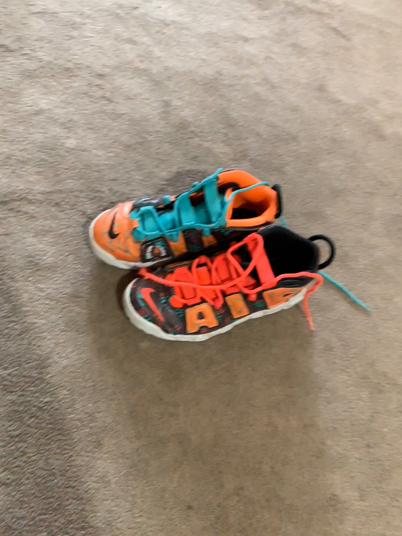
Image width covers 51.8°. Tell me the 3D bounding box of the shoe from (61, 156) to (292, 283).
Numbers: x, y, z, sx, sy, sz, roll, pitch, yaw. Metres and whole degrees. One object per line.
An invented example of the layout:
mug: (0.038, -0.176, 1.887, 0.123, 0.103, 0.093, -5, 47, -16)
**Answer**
shoe: (-0.032, -0.059, 0.512, 0.250, 0.090, 0.100, -7, 69, -8)

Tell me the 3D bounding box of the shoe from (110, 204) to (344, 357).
shoe: (0.024, 0.017, 0.489, 0.230, 0.109, 0.100, -12, 67, -10)
